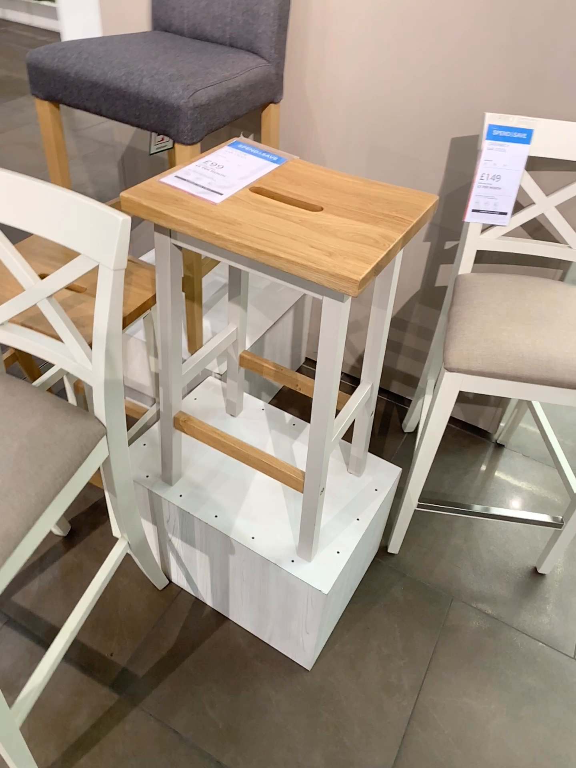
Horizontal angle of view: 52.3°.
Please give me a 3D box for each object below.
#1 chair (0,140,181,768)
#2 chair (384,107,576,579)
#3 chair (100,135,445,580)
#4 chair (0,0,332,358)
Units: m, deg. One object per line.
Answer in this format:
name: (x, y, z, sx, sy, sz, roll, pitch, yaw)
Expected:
chair: (-0.521, 0.200, 0.979, 0.437, 0.955, 0.505, 18, 42, 14)
chair: (0.524, -0.053, 1.383, 0.417, 0.945, 0.516, 7, 41, 2)
chair: (-0.034, -0.036, 1.068, 0.398, 0.638, 0.323, 23, 44, 20)
chair: (-0.275, -0.672, 1.456, 0.468, 0.984, 0.535, 23, 44, 19)
